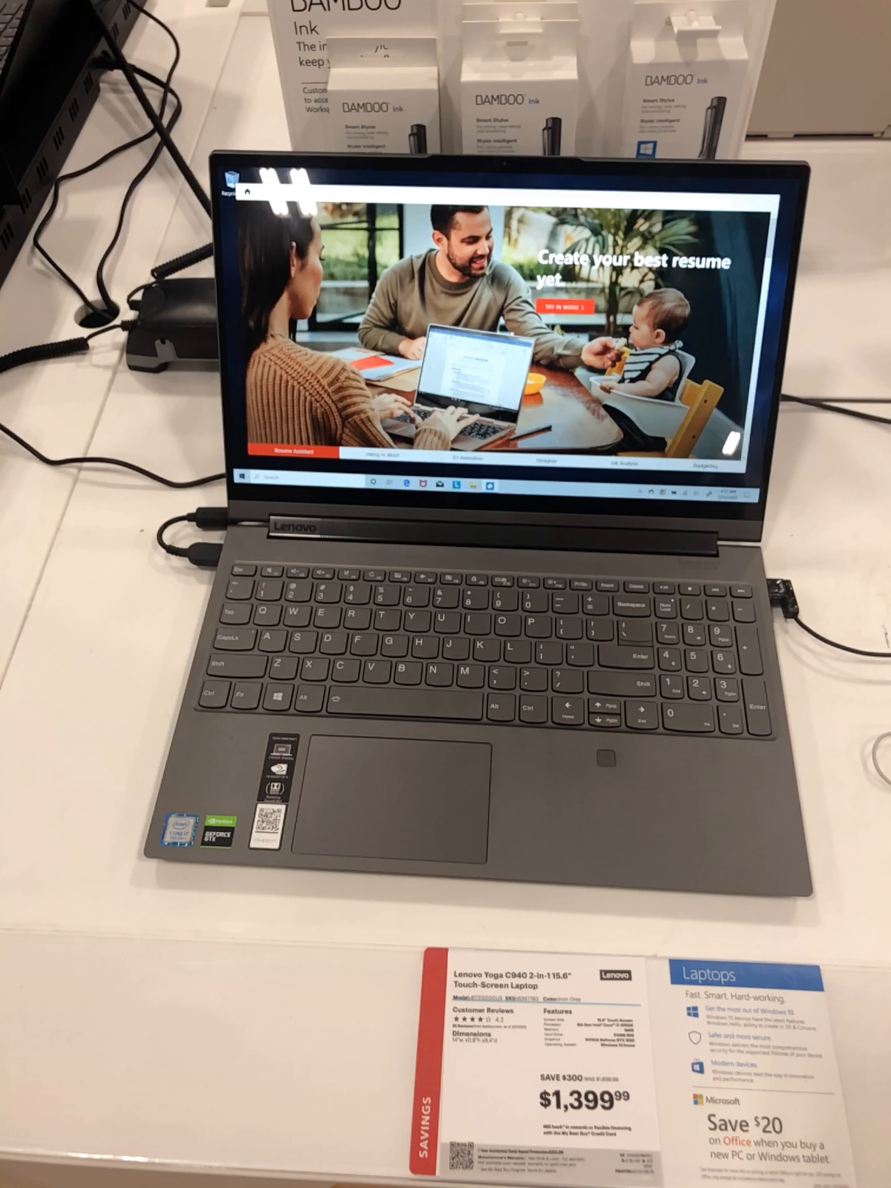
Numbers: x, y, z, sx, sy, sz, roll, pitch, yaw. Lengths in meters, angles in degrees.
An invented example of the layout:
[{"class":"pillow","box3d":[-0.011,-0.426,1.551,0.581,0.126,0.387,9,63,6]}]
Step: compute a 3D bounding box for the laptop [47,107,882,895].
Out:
[{"class":"laptop","box3d":[0.016,-0.063,0.552,0.336,0.169,0.375,2,61,3]}]
